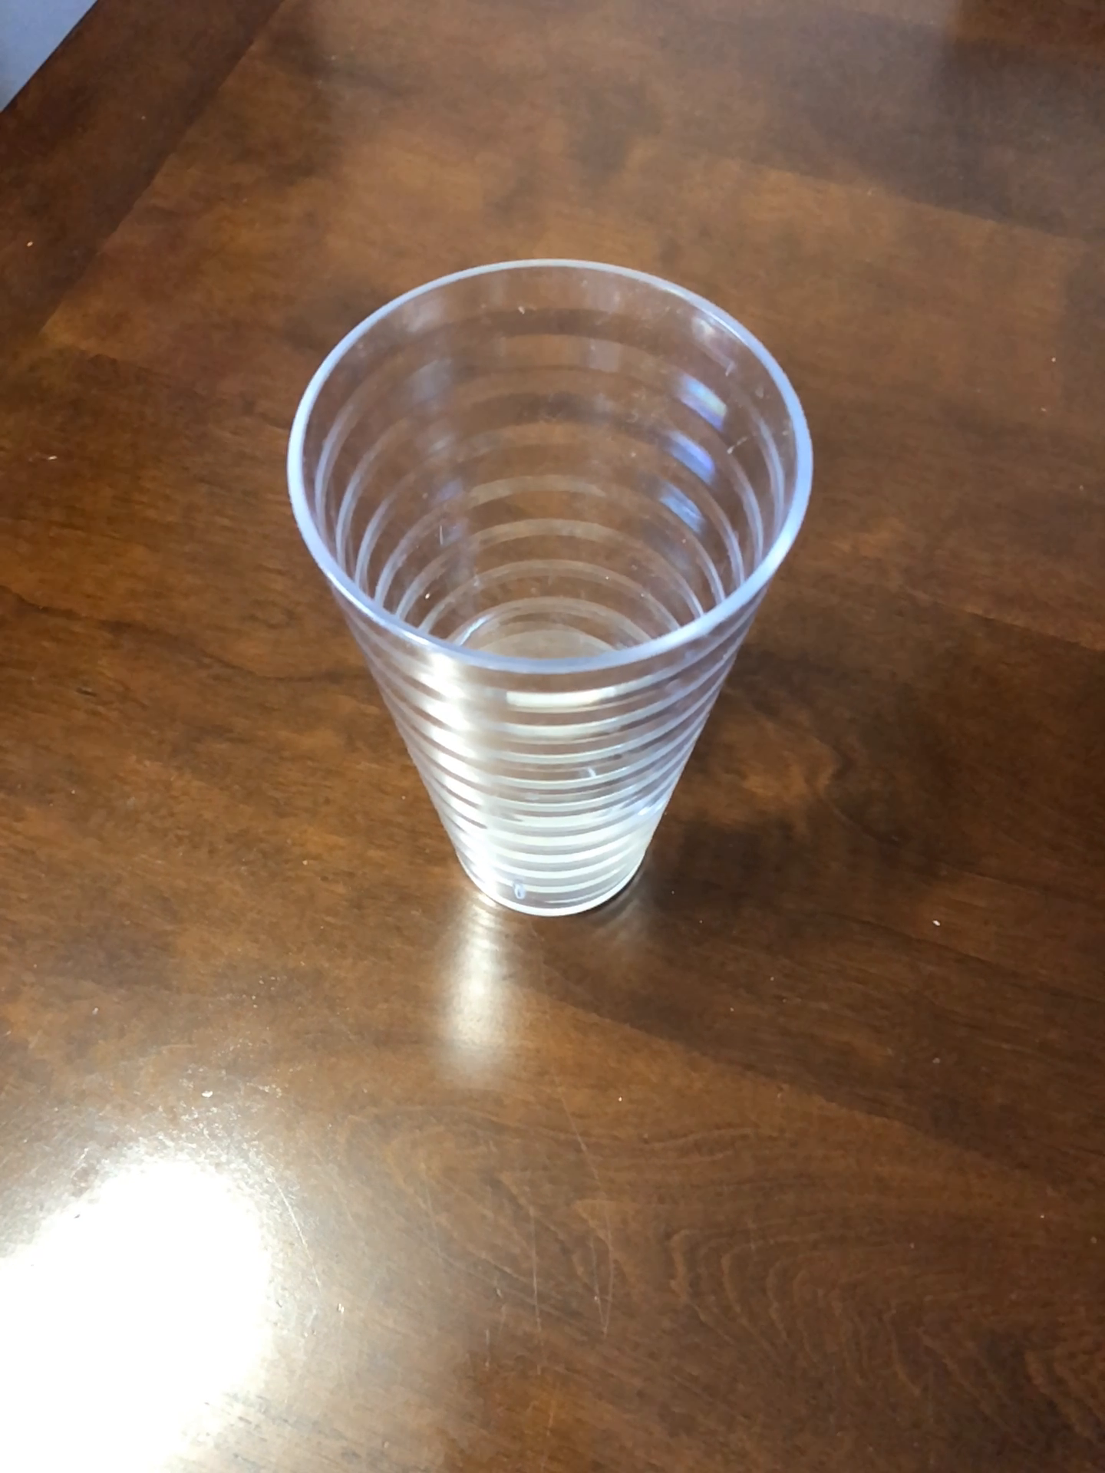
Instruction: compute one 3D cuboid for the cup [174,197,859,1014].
[{"bbox_3d":[-0.003,-0.016,0.310,0.100,0.180,0.100,0,63,0],"label":"cup"}]
